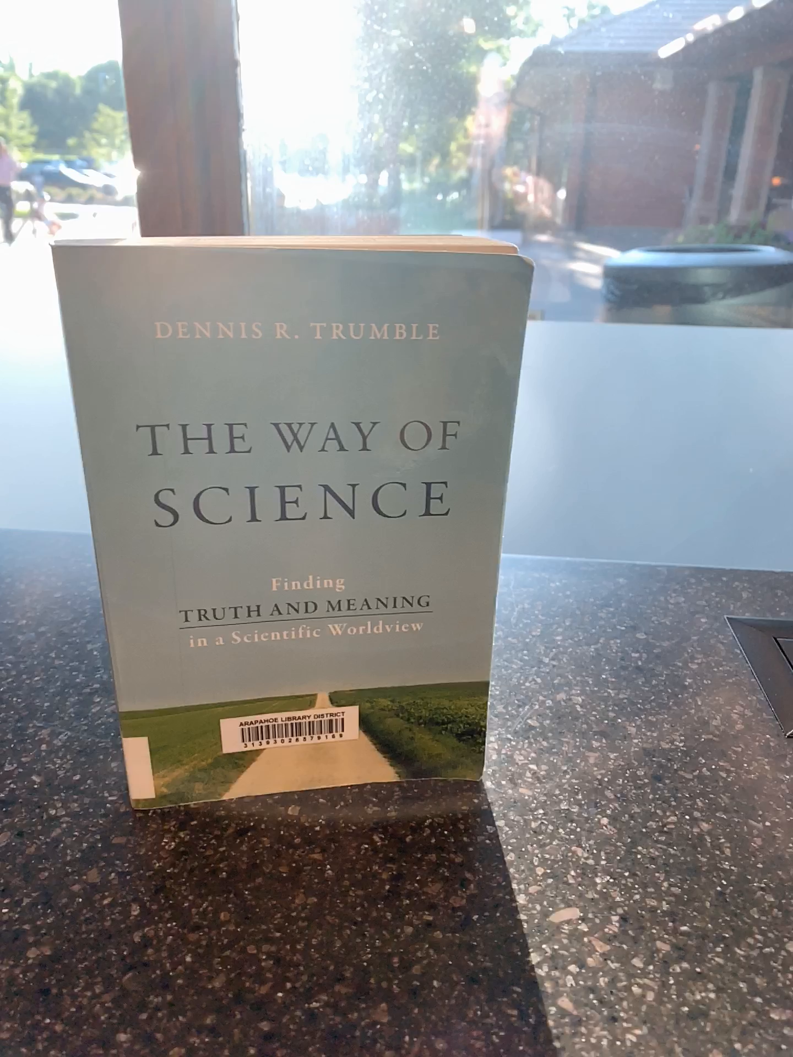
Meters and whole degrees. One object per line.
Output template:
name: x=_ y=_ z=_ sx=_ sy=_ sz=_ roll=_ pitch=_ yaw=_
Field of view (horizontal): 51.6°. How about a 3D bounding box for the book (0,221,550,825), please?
book: x=-0.039 y=0.003 z=0.308 sx=0.167 sy=0.219 sz=0.040 roll=-3 pitch=24 yaw=-9
